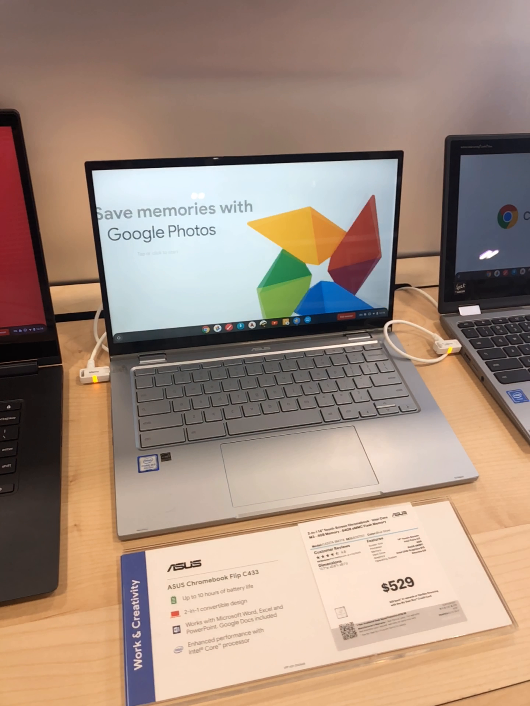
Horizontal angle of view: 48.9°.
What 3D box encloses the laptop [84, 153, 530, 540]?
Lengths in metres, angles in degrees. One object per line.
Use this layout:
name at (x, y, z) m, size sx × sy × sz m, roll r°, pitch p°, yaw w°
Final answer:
laptop at (0.010, -0.033, 0.533) m, size 0.310 × 0.174 × 0.283 m, roll -7°, pitch 42°, yaw -12°
